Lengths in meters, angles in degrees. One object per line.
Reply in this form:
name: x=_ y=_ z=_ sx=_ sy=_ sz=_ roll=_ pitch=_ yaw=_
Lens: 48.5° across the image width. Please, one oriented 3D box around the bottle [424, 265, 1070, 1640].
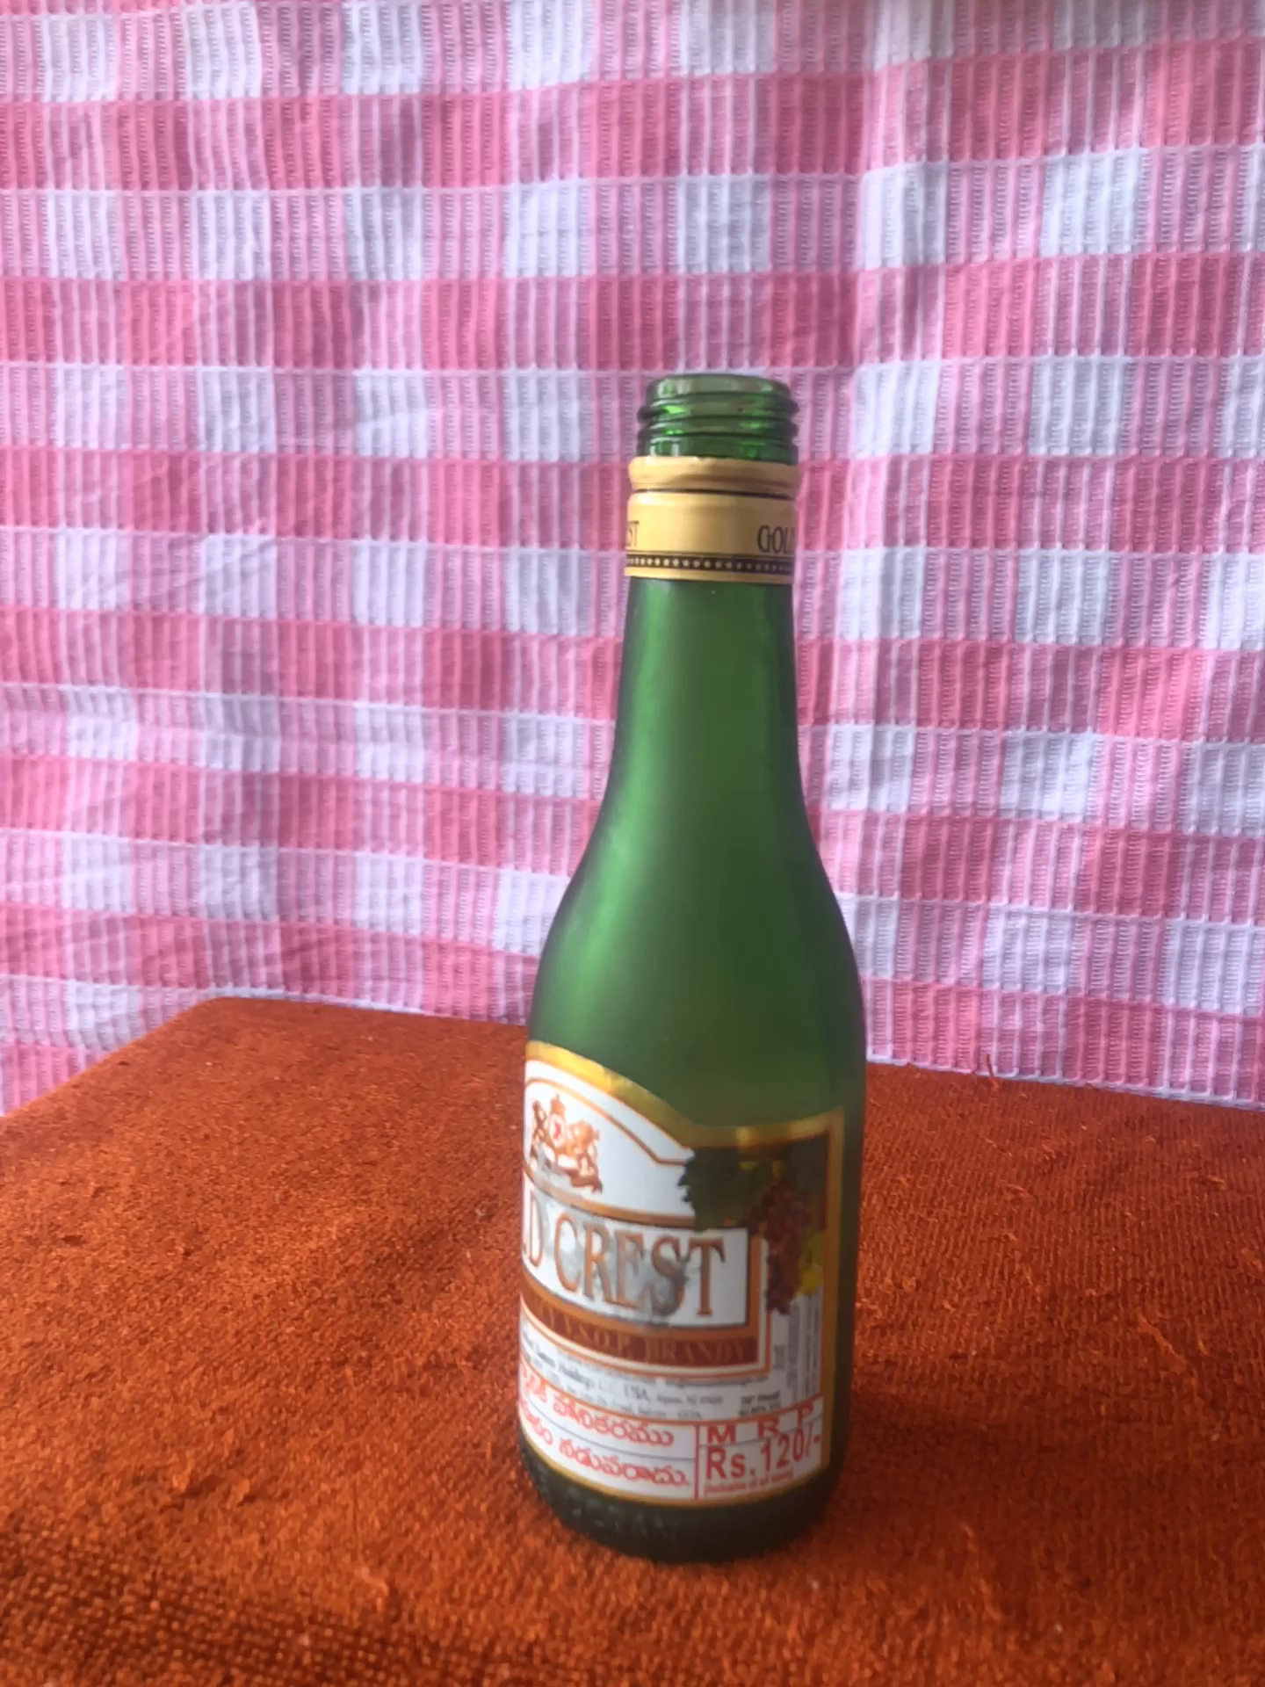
bottle: x=0.011 y=0.013 z=0.207 sx=0.060 sy=0.170 sz=0.060 roll=3 pitch=12 yaw=-1
